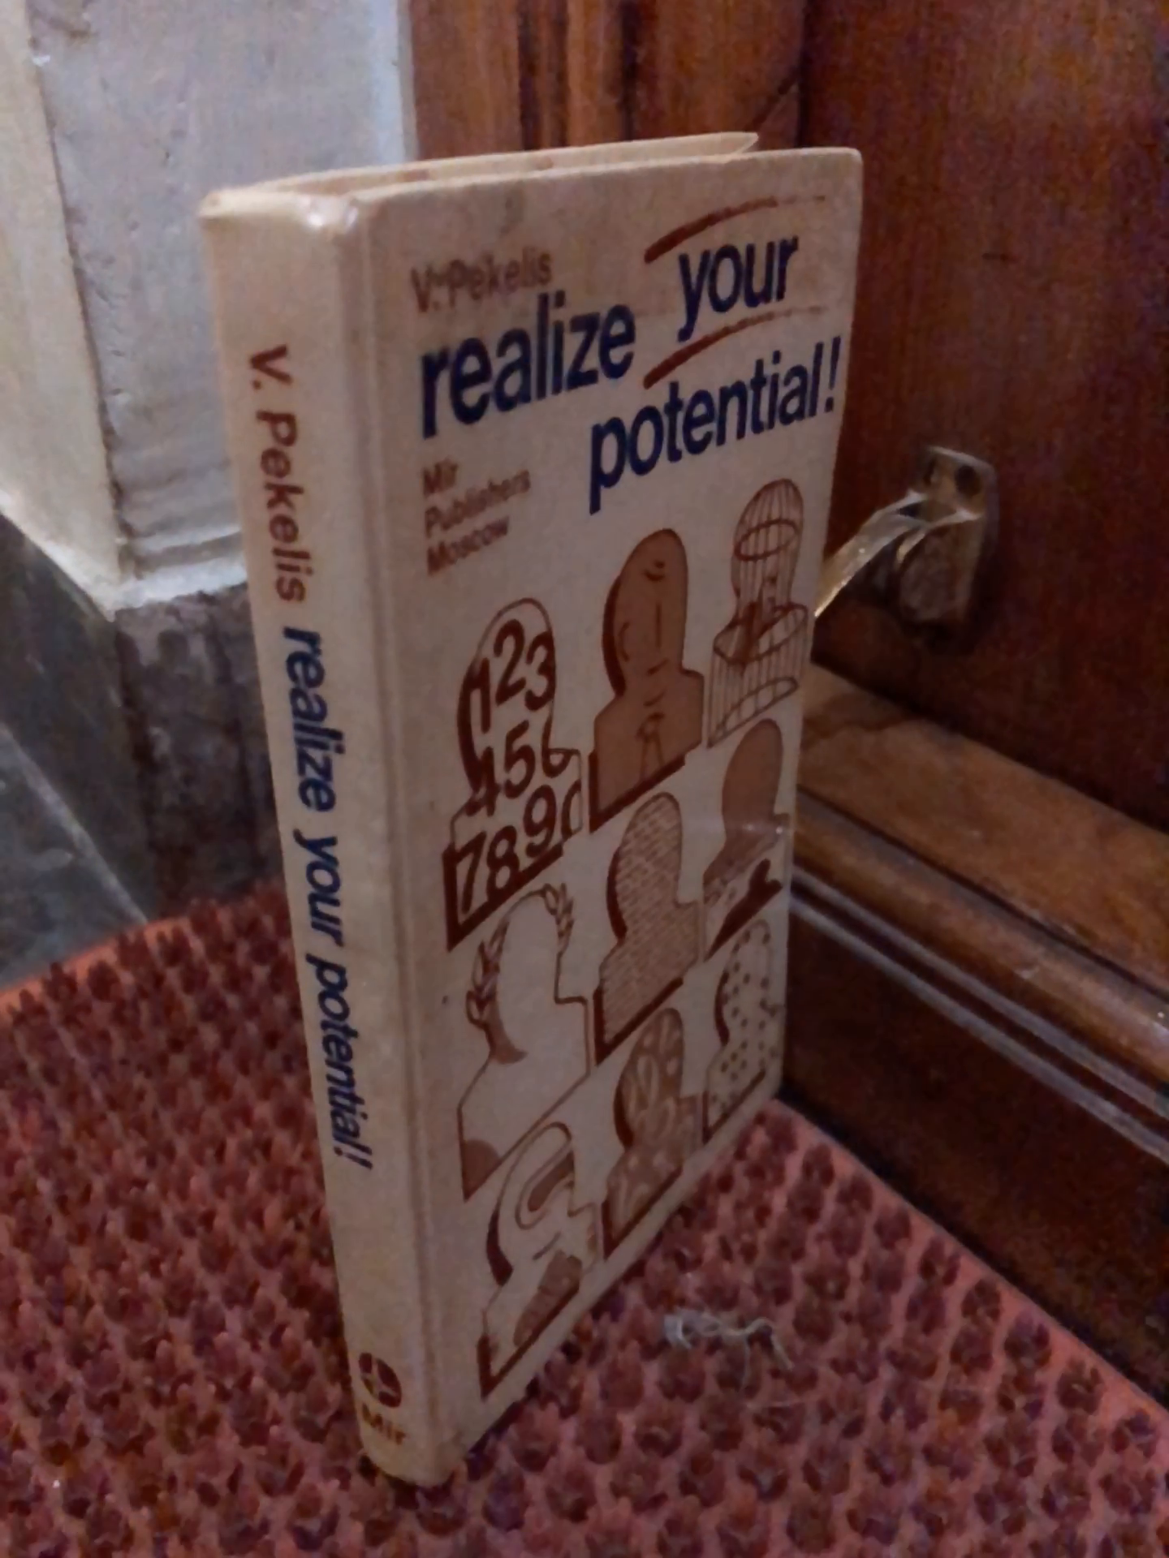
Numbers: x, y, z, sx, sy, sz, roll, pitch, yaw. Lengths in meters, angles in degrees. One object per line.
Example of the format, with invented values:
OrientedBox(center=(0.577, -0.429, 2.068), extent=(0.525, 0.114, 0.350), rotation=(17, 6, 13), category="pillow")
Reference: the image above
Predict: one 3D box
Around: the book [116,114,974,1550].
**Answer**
OrientedBox(center=(0.011, 0.003, 0.231), extent=(0.030, 0.209, 0.150), rotation=(19, 34, 34), category="book")
